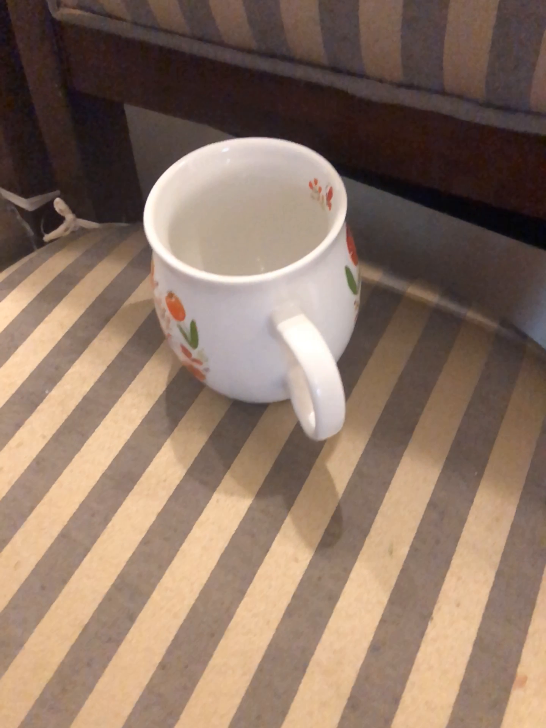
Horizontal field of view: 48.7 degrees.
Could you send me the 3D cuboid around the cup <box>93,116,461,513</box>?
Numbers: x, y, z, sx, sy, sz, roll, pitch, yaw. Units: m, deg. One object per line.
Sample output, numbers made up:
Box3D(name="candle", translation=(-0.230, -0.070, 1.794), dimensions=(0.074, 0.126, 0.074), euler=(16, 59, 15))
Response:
Box3D(name="cup", translation=(-0.005, -0.028, 0.289), dimensions=(0.110, 0.090, 0.141), euler=(-19, 55, -10))
